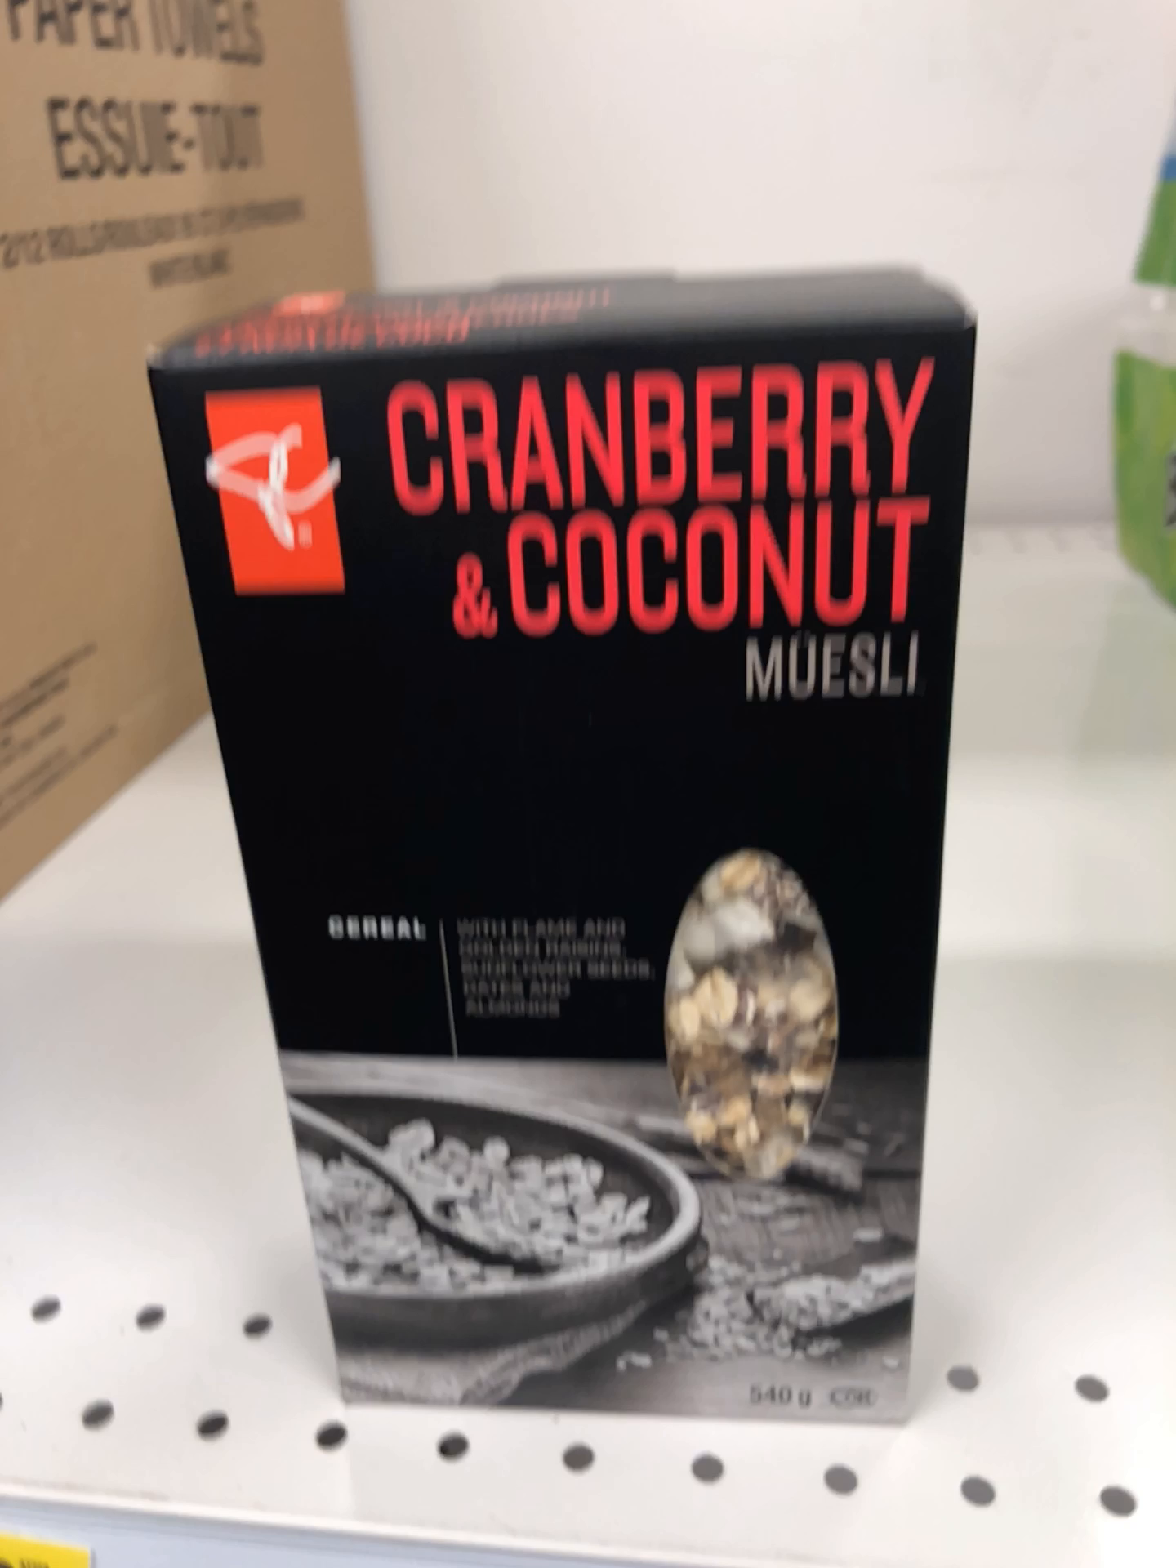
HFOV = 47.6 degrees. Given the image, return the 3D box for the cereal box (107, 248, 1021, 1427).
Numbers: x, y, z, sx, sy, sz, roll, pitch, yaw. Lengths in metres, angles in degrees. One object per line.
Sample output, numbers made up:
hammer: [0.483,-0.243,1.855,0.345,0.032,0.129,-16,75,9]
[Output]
cereal box: [0.004,0.014,0.245,0.120,0.199,0.070,-1,24,7]
